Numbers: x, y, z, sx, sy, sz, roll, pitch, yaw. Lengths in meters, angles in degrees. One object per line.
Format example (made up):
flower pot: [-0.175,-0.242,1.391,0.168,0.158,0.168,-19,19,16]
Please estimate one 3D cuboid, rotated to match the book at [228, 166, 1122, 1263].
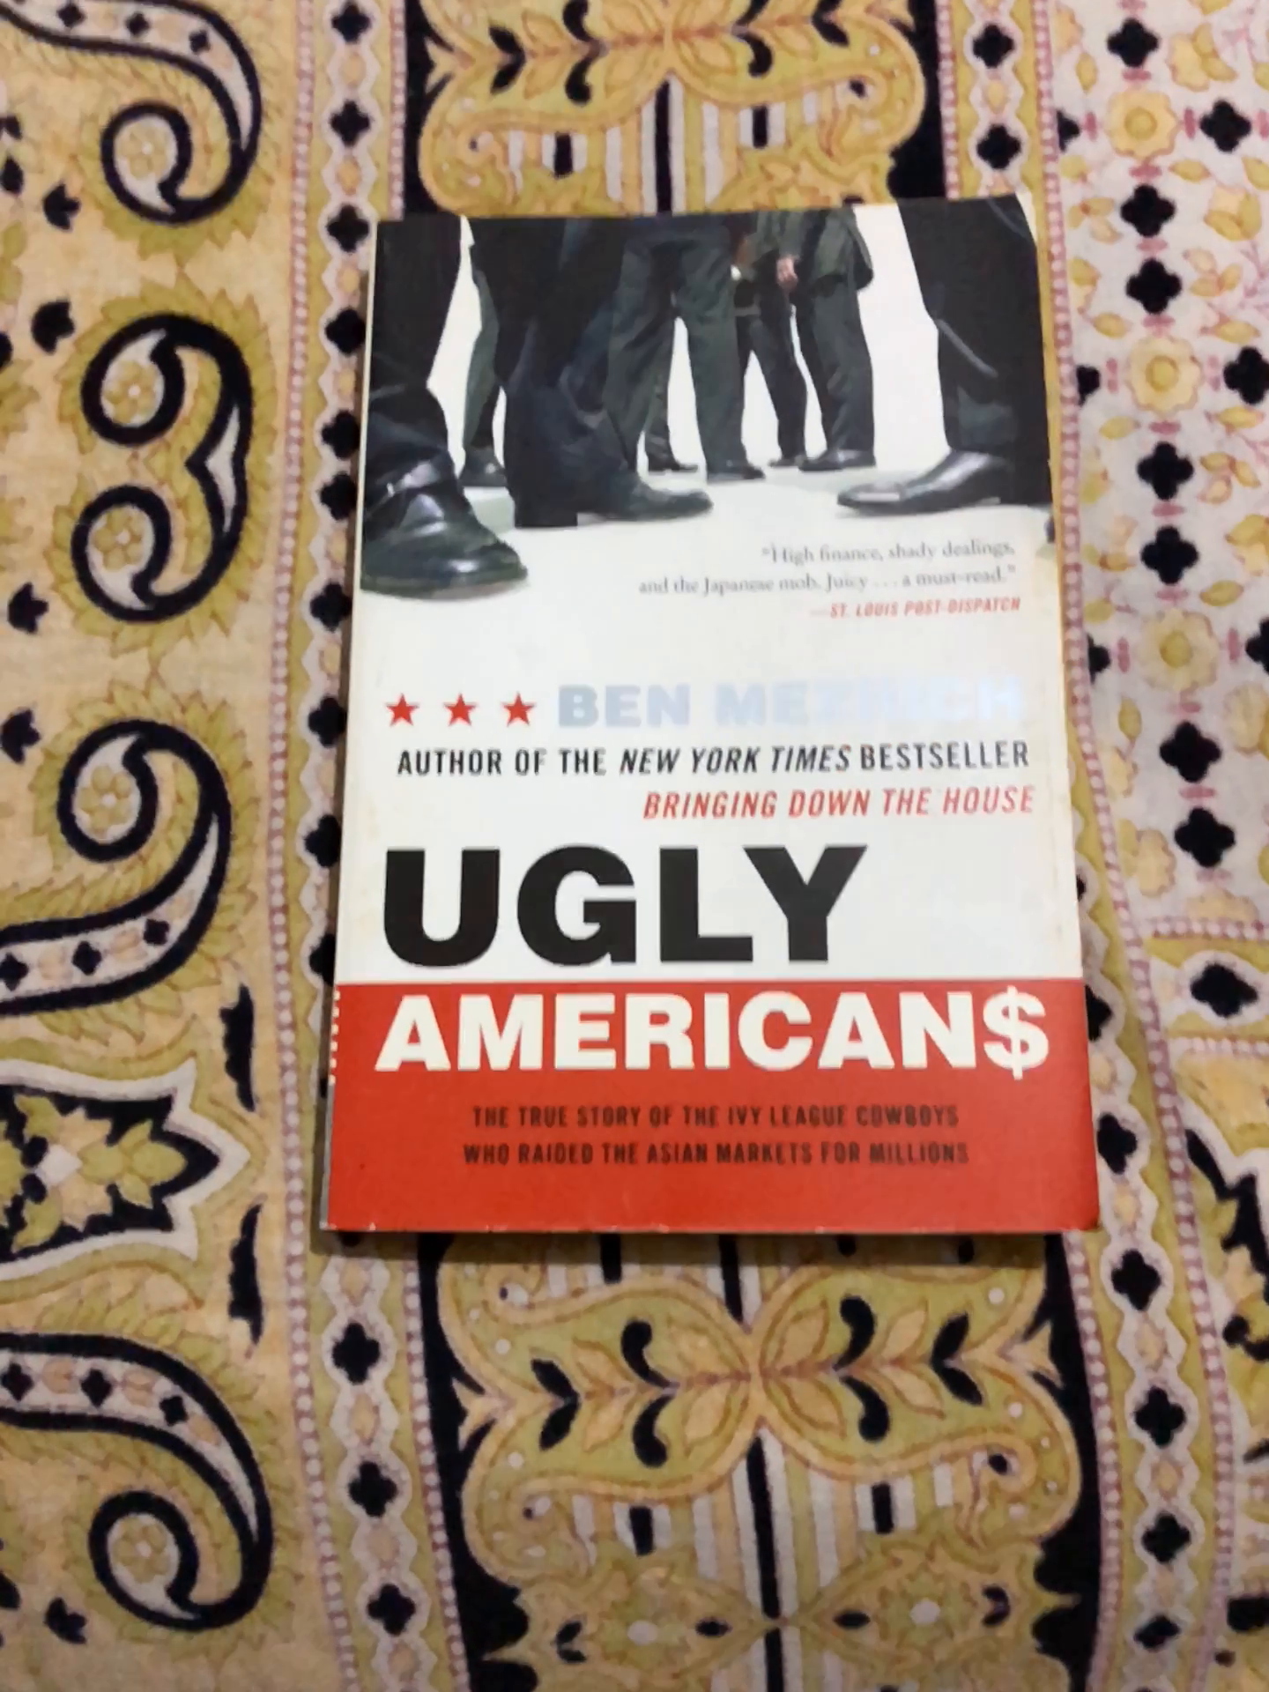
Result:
book: [0.006,-0.025,0.255,0.140,0.030,0.190,-1,78,5]
